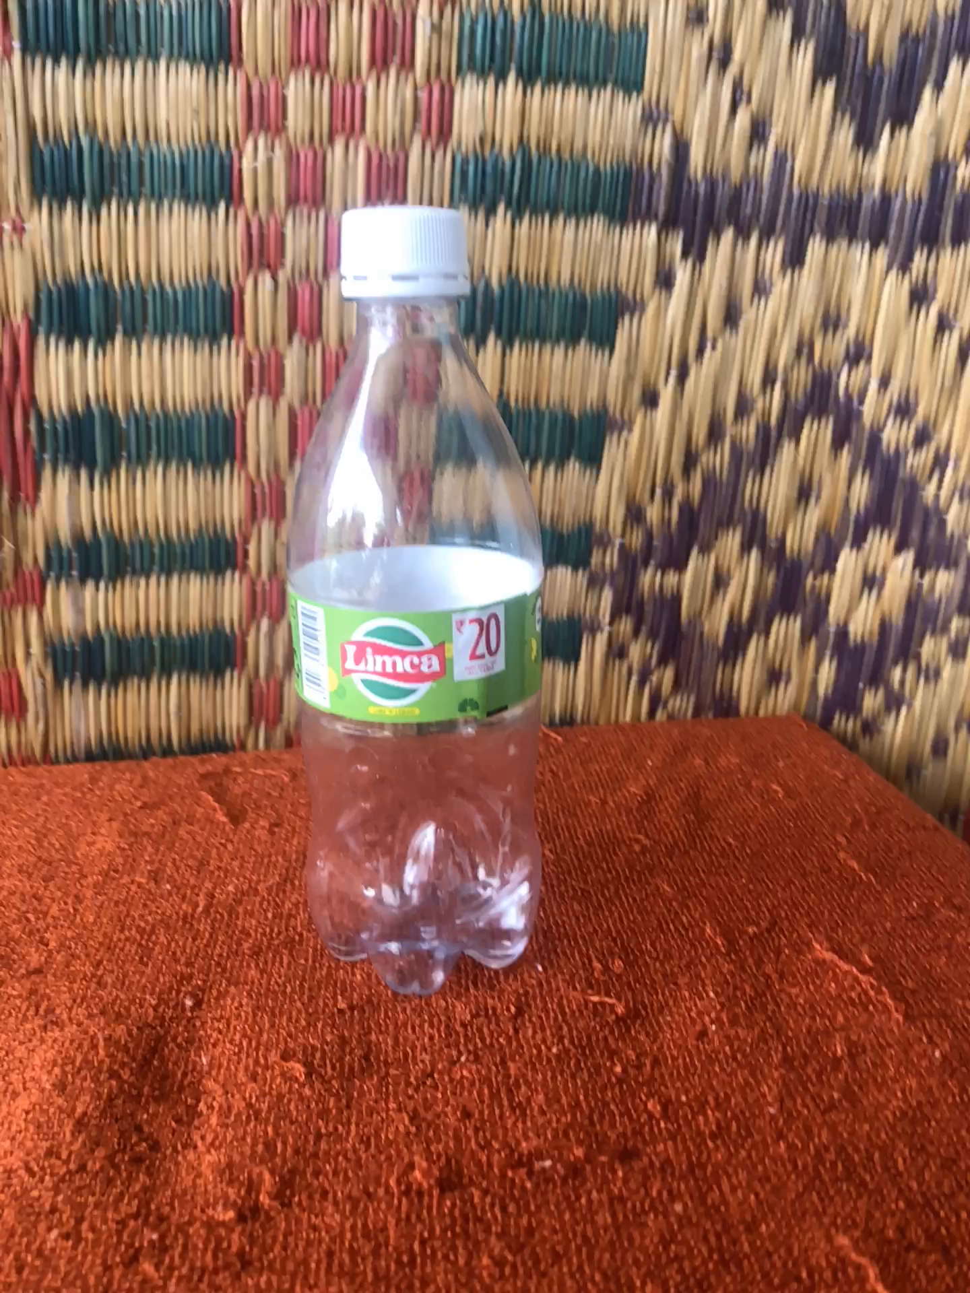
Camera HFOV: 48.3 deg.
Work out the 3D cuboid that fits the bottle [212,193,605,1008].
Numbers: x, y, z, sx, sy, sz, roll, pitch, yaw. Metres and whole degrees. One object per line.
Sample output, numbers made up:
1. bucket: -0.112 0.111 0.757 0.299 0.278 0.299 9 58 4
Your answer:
1. bottle: -0.016 -0.009 0.219 0.060 0.149 0.060 2 20 -1
